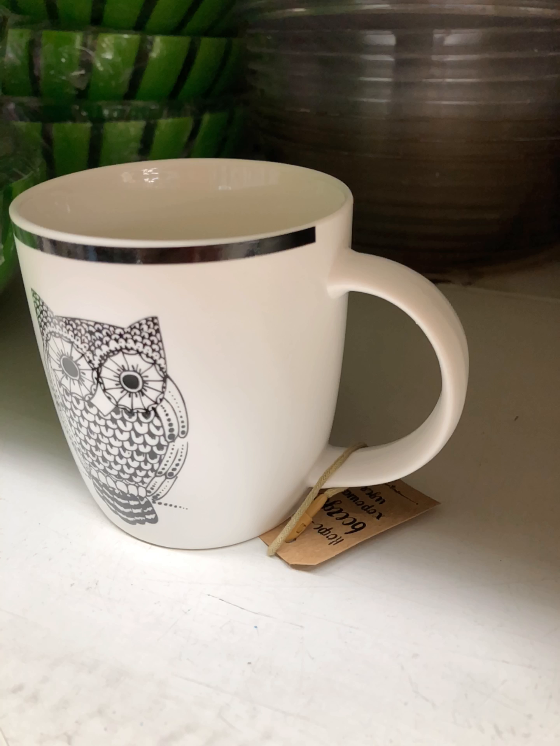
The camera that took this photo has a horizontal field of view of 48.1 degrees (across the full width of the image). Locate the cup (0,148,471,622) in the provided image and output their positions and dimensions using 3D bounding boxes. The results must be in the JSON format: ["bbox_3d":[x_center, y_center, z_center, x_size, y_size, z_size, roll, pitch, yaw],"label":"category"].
[{"bbox_3d":[-0.011,-0.006,0.177,0.110,0.093,0.078,8,30,16],"label":"cup"}]
